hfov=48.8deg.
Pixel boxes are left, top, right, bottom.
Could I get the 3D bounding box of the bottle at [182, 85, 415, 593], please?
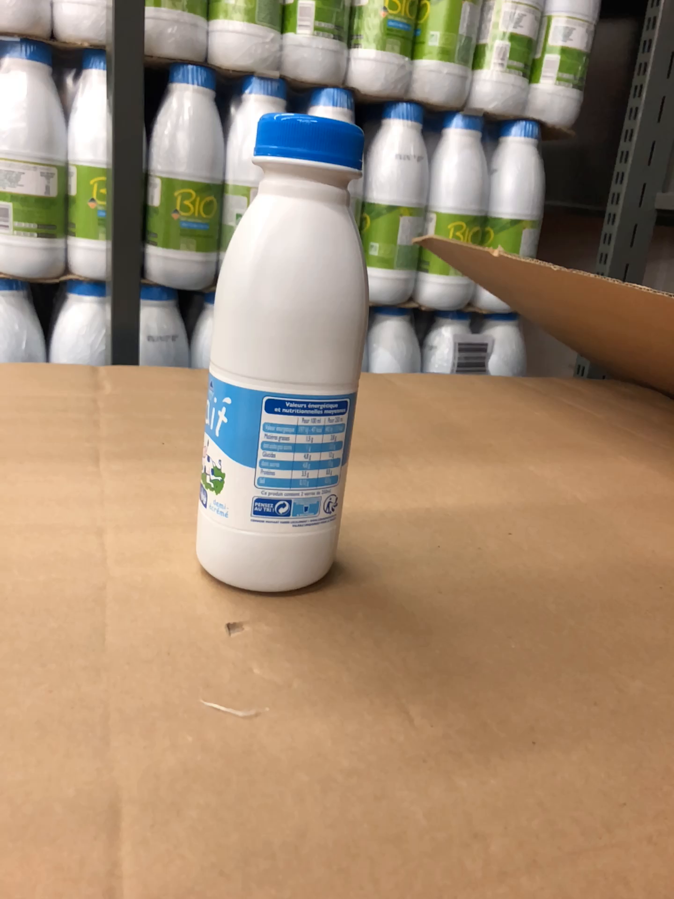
[{"bbox_3d":[-0.024,-0.043,0.317,0.070,0.189,0.070,5,17,-2],"label":"bottle"}]
